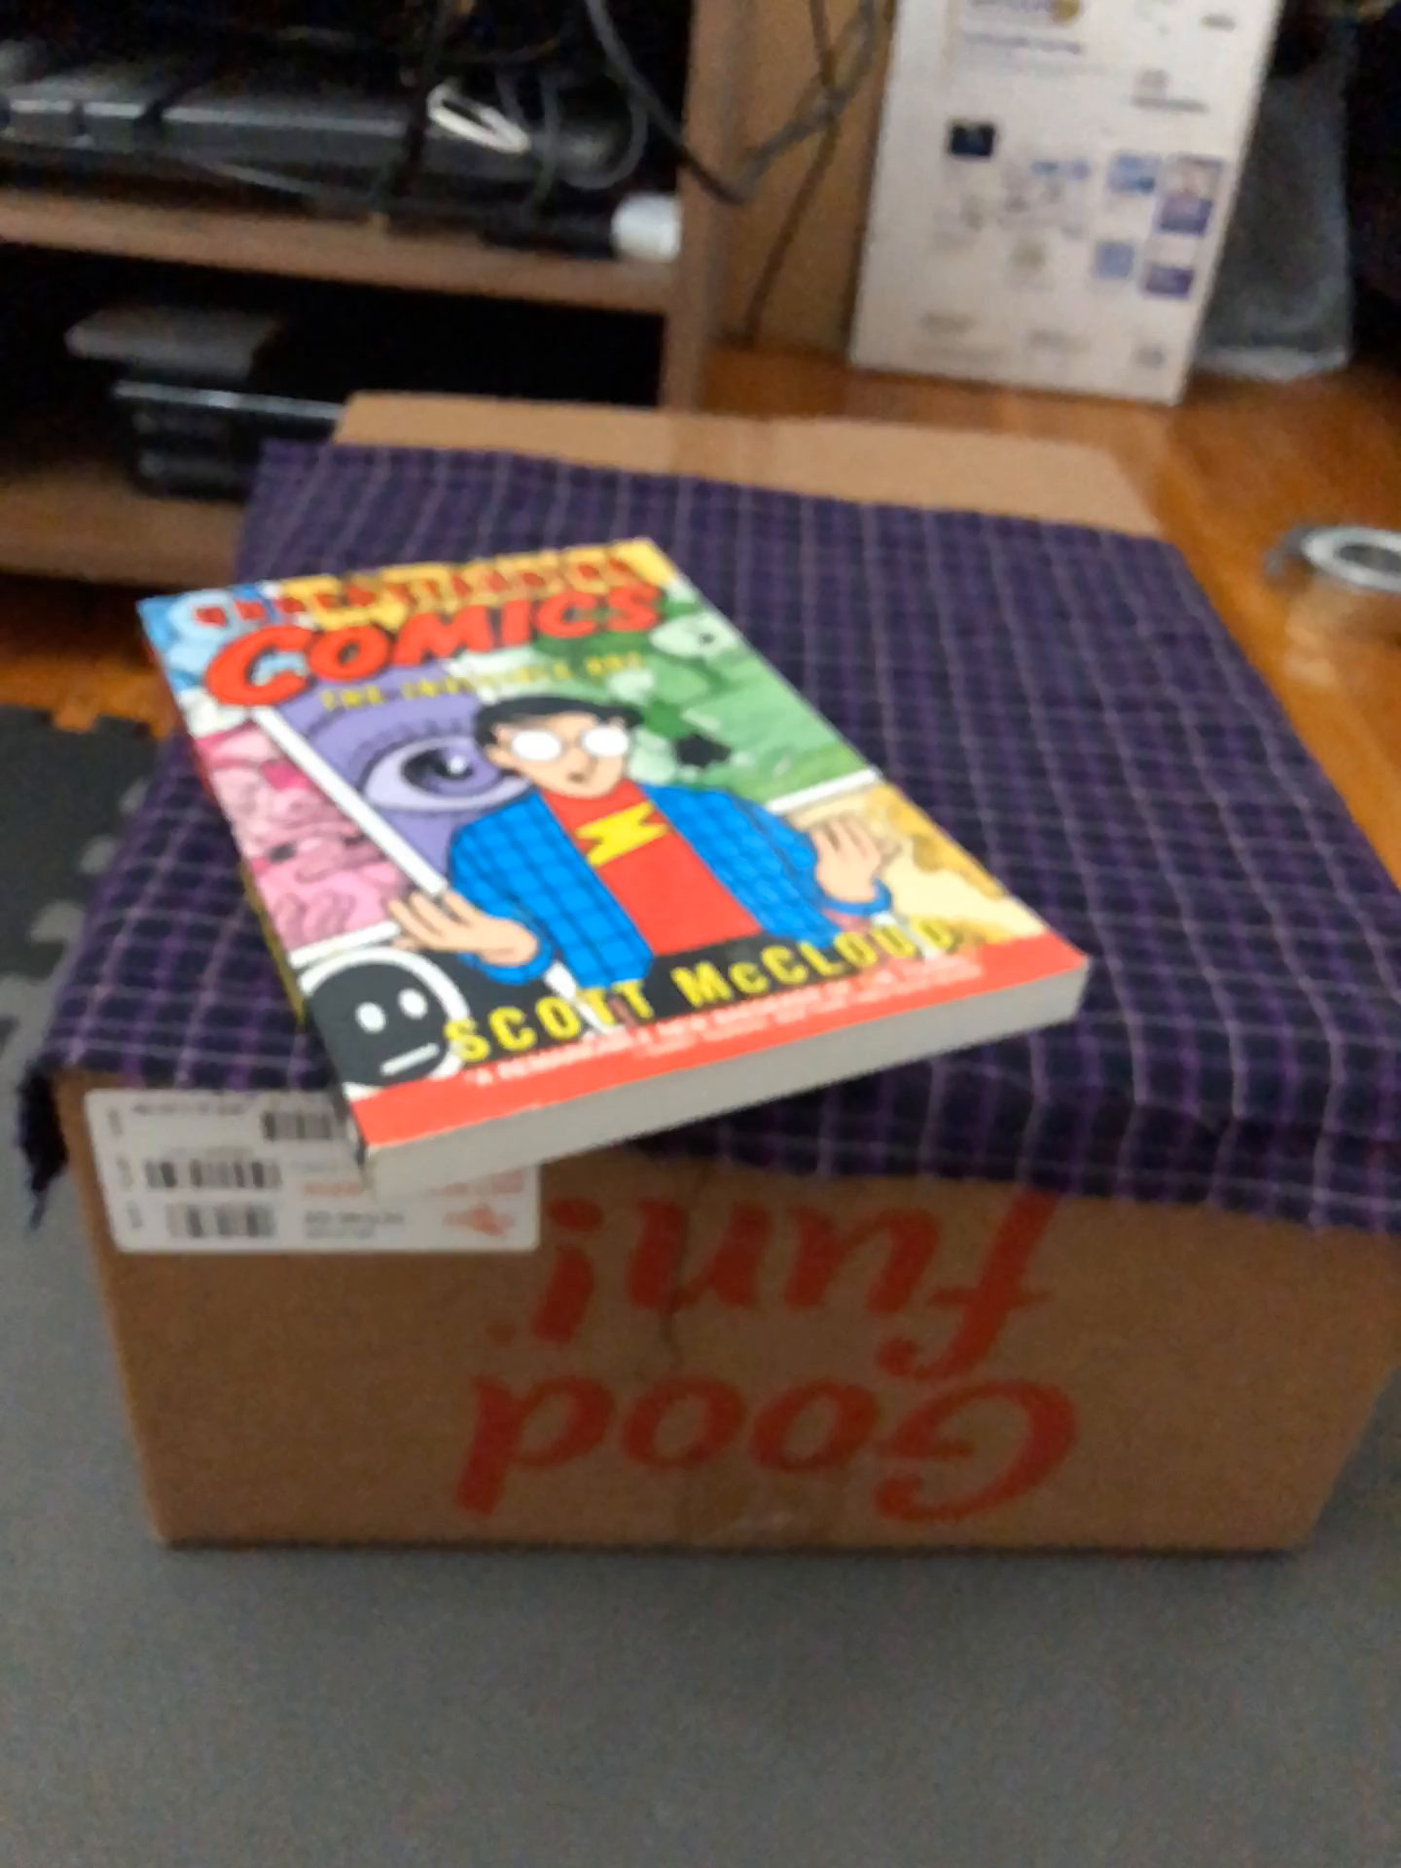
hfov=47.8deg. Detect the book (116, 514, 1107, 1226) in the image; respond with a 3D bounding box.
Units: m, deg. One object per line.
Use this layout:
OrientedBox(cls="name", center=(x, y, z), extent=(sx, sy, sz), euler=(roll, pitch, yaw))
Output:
OrientedBox(cls="book", center=(-0.044, -0.045, 0.422), extent=(0.170, 0.020, 0.271), euler=(-12, 39, -23))
